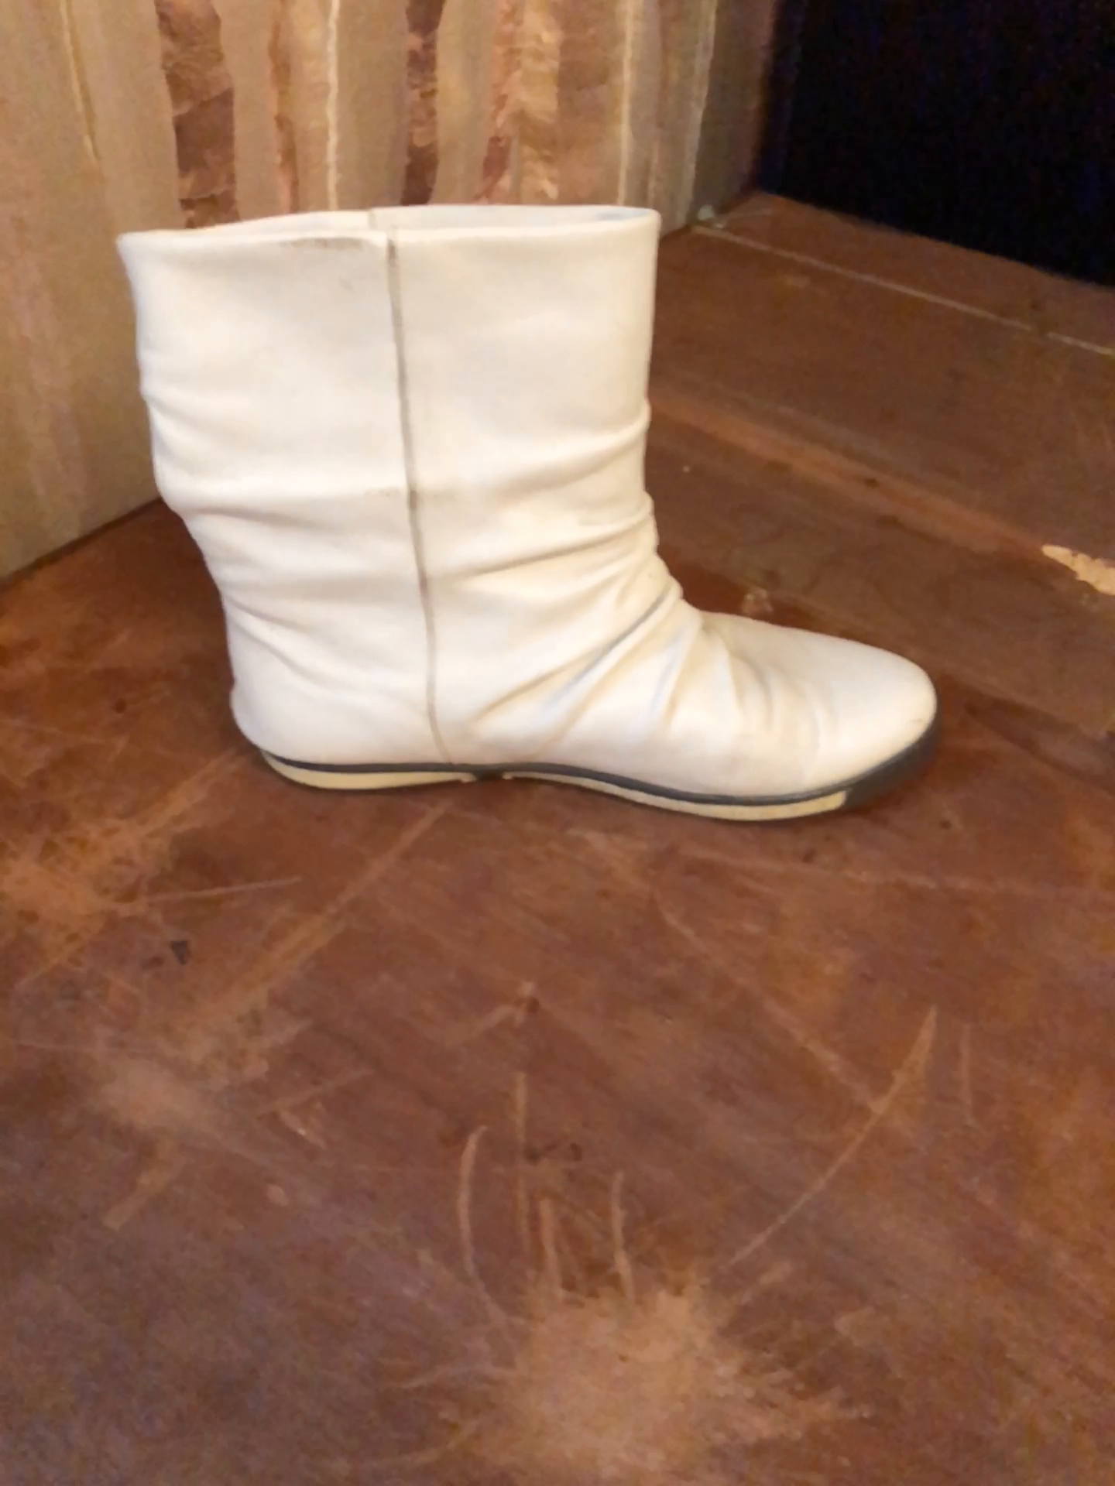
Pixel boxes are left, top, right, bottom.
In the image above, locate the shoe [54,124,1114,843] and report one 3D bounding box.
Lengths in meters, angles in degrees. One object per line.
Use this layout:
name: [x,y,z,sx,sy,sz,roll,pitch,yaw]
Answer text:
shoe: [0.005,-0.074,0.374,0.240,0.169,0.101,4,42,2]
